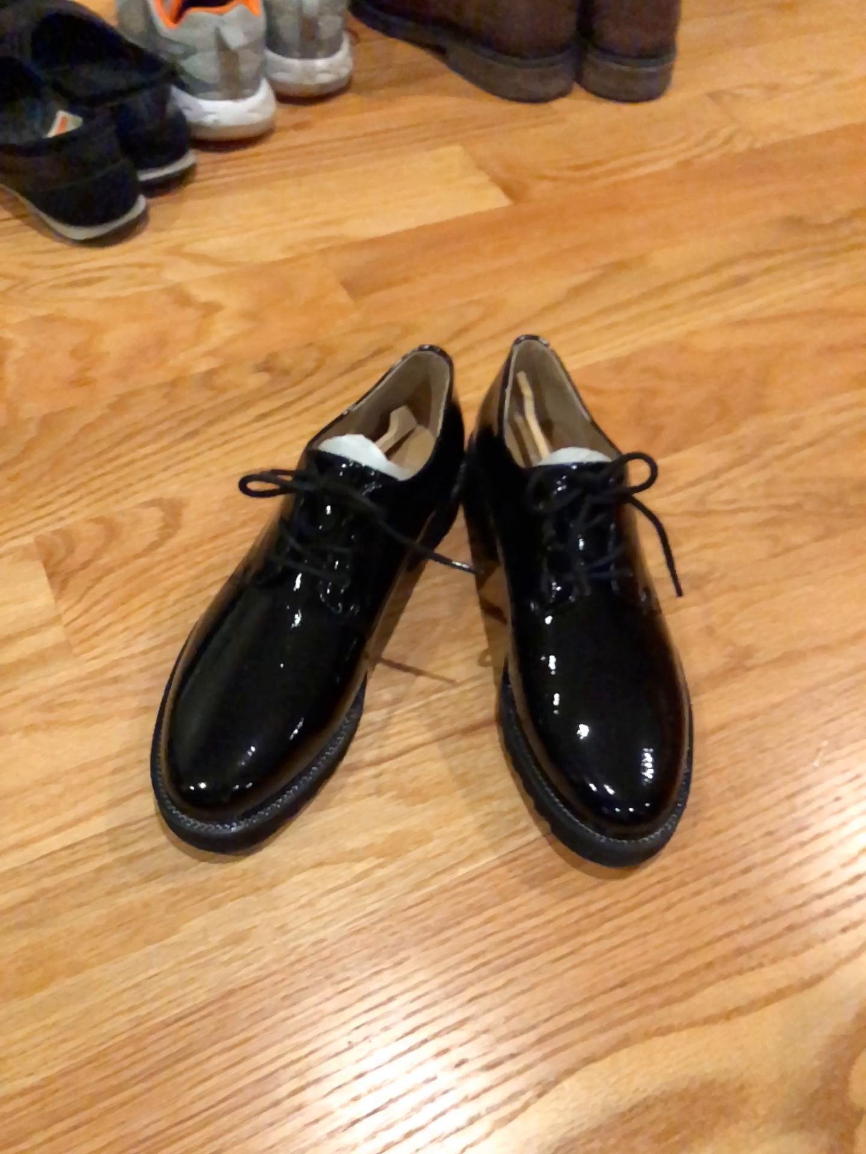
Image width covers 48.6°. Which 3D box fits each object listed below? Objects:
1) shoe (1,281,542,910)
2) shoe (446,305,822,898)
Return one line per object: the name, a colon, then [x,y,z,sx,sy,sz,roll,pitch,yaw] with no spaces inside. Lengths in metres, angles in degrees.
shoe: [-0.051,-0.004,0.423,0.095,0.101,0.252,24,56,11]
shoe: [0.070,0.000,0.436,0.095,0.101,0.252,-2,55,-7]
